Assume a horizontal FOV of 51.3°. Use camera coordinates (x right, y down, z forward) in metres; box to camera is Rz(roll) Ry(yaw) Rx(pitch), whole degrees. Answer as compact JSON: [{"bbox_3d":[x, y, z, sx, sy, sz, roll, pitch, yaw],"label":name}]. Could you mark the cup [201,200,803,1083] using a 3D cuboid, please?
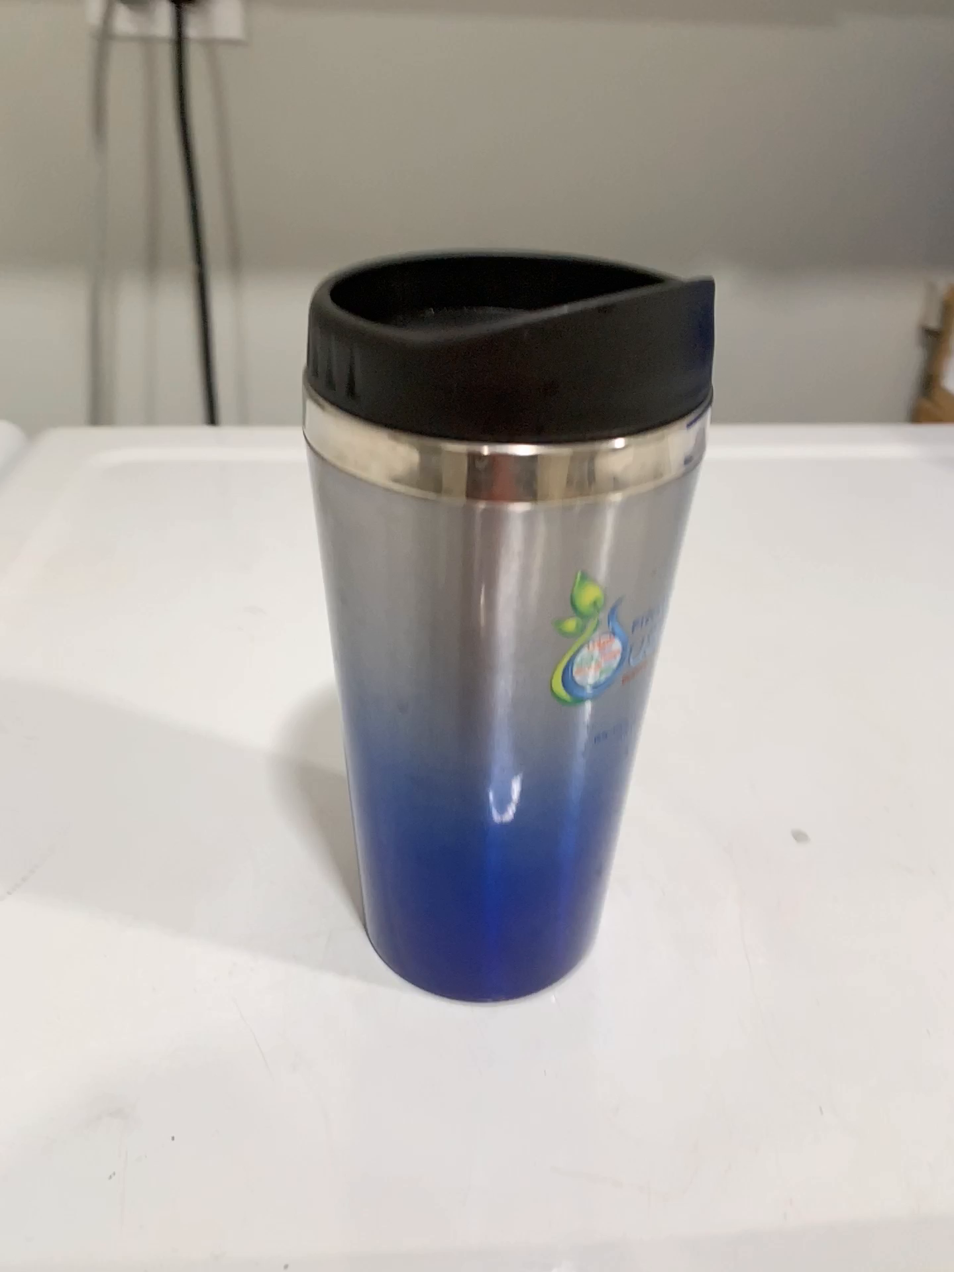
[{"bbox_3d":[-0.001,-0.002,0.234,0.080,0.171,0.090,-18,35,-29],"label":"cup"}]
